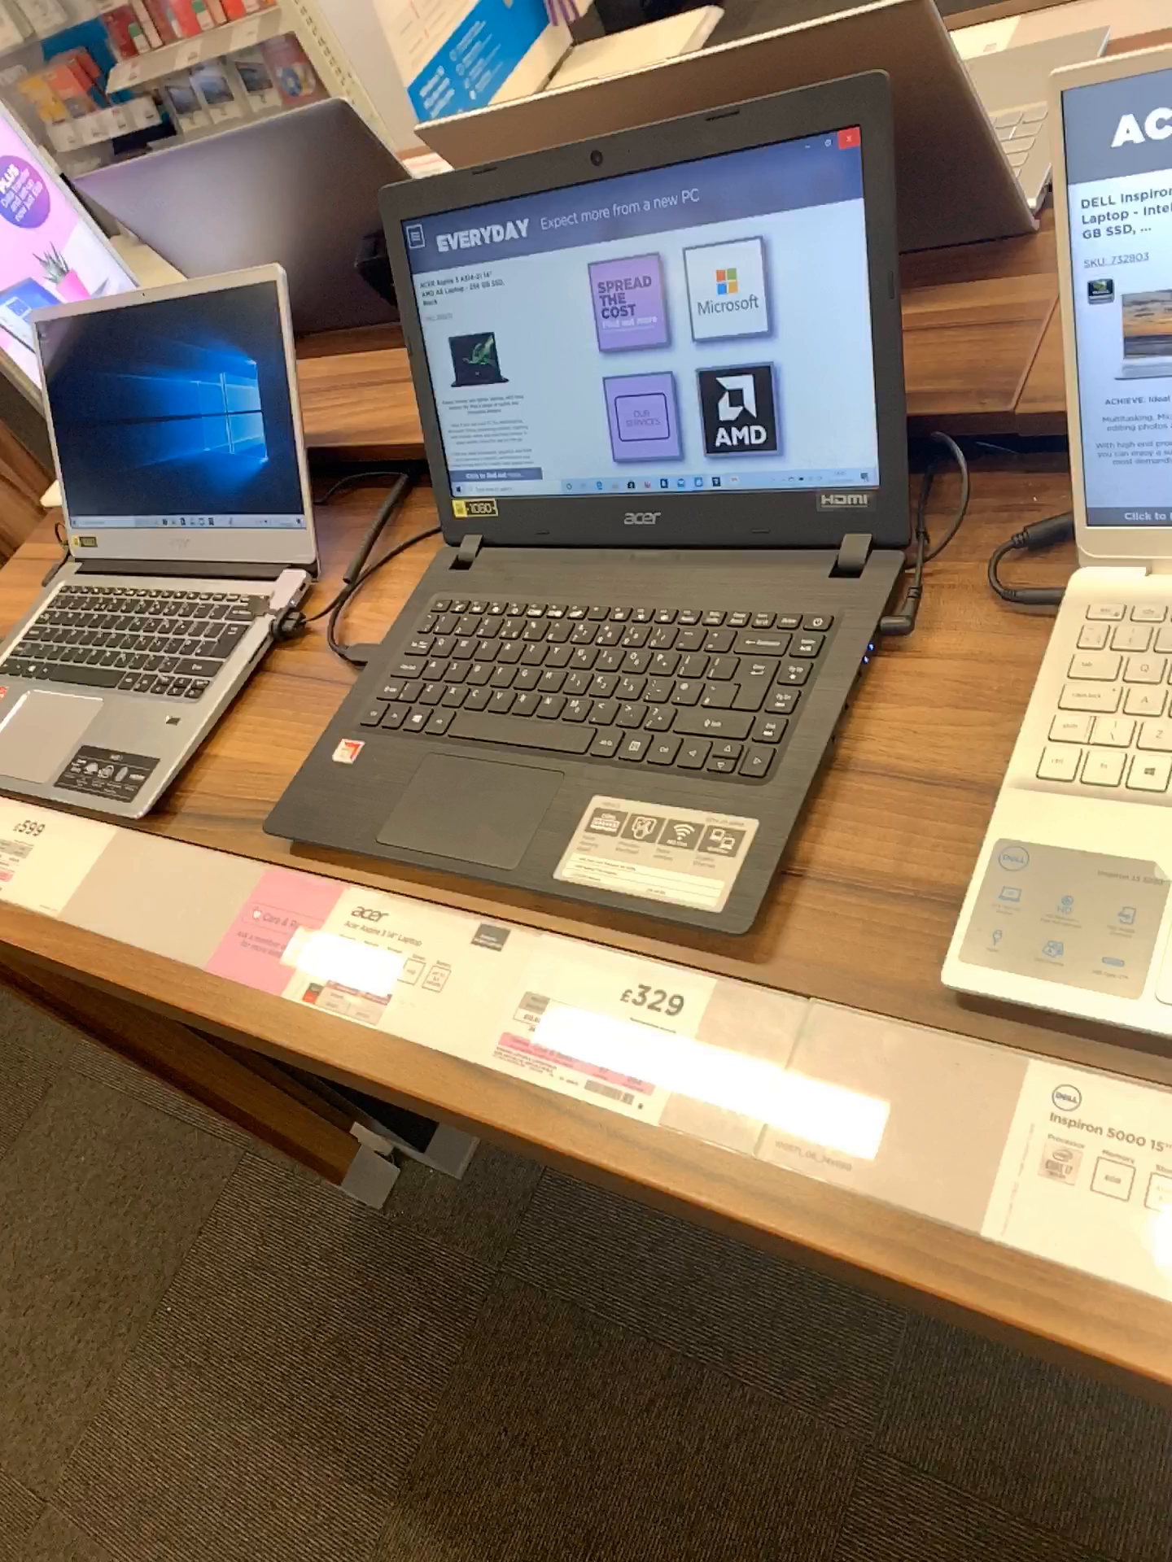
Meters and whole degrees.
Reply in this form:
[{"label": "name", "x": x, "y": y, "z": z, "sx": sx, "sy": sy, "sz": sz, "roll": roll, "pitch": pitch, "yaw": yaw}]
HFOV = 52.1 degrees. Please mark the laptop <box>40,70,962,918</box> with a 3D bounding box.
[{"label": "laptop", "x": -0.025, "y": -0.157, "z": 0.645, "sx": 0.326, "sy": 0.193, "sz": 0.356, "roll": 8, "pitch": 58, "yaw": 35}]
